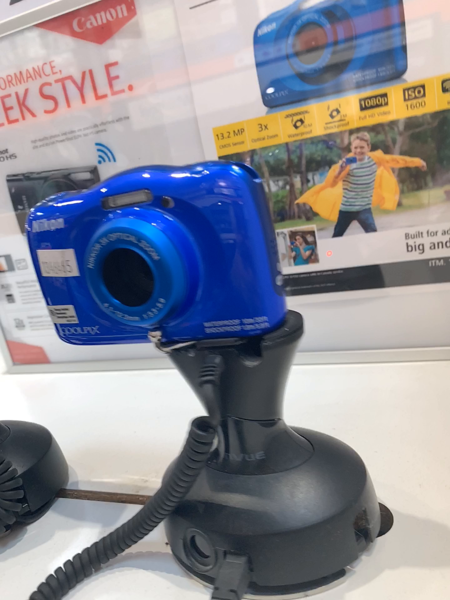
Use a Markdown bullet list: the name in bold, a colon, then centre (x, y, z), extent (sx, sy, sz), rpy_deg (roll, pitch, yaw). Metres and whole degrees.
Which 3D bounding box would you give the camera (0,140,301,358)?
- **camera**: centre (-0.030, -0.018, 0.179), extent (0.101, 0.063, 0.046), rpy_deg (-4, 16, 23)
